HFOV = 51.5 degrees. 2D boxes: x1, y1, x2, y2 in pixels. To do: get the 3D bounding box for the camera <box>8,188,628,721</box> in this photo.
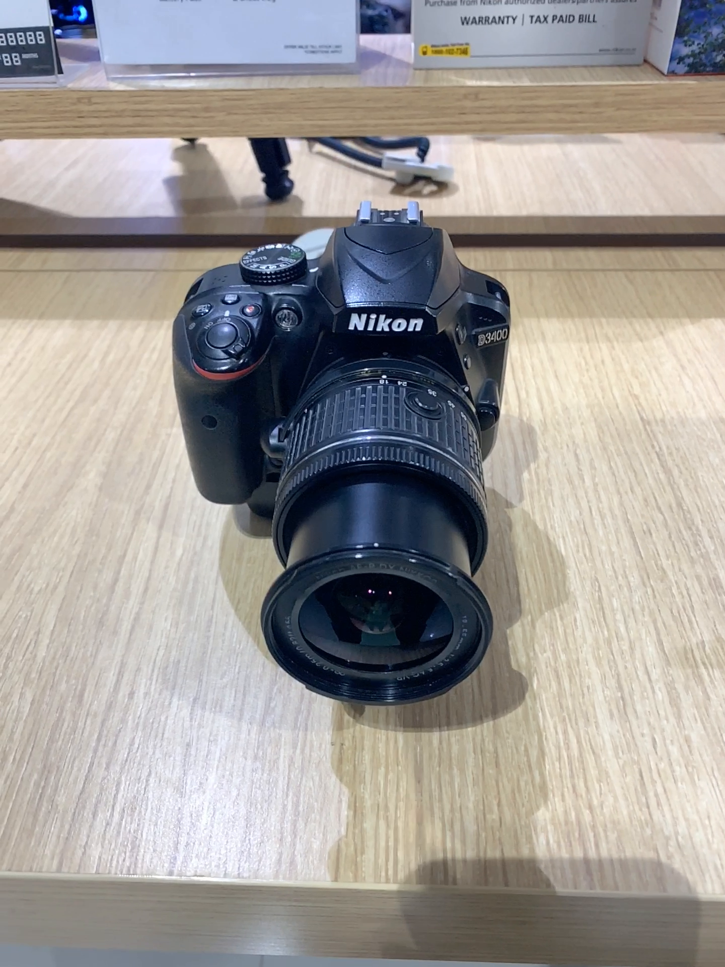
[{"bbox_3d":[-0.006,-0.017,0.229,0.120,0.094,0.141,0,40,2],"label":"camera"}]
